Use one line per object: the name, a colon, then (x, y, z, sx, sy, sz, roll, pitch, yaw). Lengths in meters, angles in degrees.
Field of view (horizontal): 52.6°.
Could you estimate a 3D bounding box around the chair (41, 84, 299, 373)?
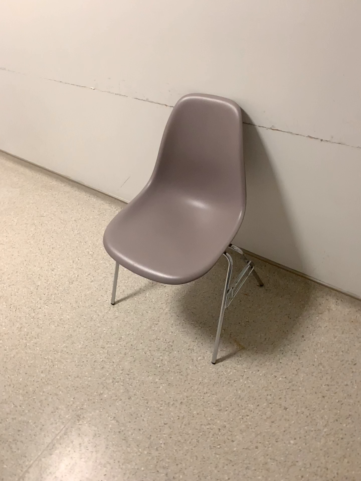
chair: (0.014, -0.054, 1.380, 0.582, 0.783, 0.543, 23, 52, 29)
